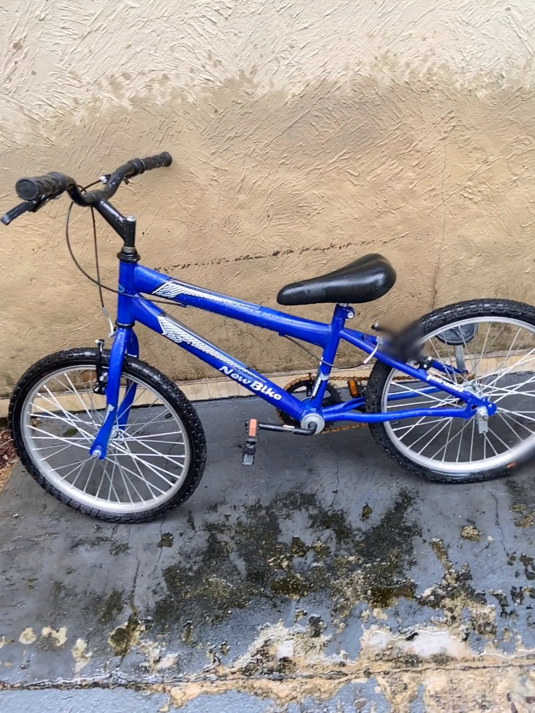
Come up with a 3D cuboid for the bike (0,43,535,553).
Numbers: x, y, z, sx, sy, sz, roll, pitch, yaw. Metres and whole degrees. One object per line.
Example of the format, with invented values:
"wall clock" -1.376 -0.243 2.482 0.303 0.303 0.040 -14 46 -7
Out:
"bike" 0.017 -0.098 1.165 1.249 0.849 0.546 -5 35 4
